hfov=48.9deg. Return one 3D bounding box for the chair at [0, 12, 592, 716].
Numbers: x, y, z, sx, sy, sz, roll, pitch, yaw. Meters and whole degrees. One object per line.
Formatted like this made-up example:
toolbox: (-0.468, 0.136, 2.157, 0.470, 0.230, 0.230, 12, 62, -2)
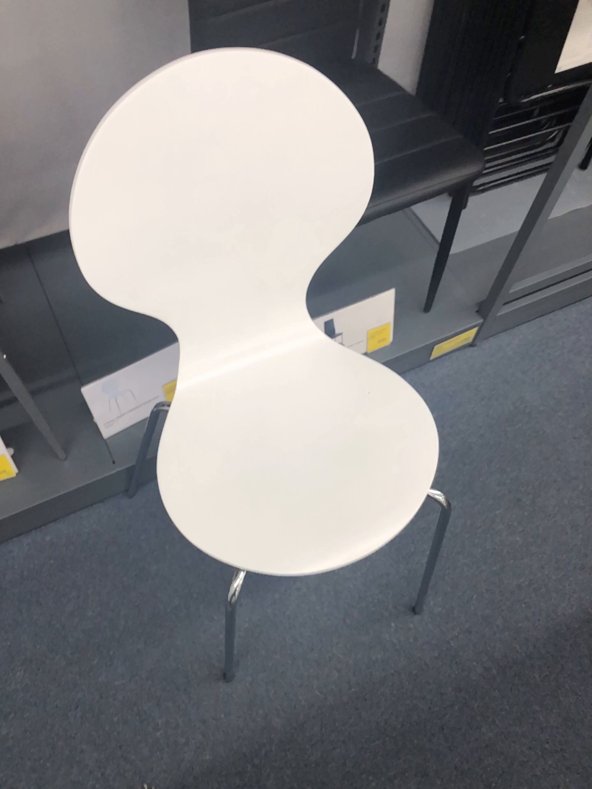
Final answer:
chair: (-0.036, 0.022, 1.025, 0.560, 0.818, 0.641, -16, 61, -14)
